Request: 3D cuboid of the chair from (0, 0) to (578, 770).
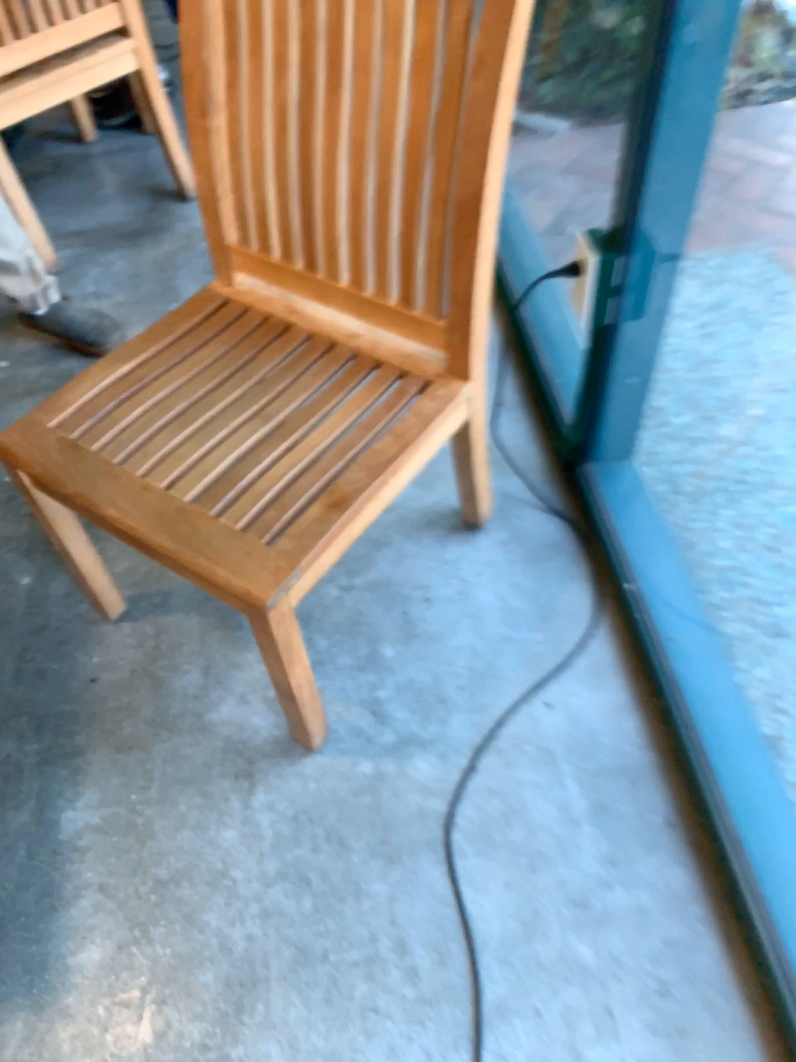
[{"bbox_3d":[-0.192,-0.241,1.115,0.532,0.916,0.611,27,59,23],"label":"chair"}]
